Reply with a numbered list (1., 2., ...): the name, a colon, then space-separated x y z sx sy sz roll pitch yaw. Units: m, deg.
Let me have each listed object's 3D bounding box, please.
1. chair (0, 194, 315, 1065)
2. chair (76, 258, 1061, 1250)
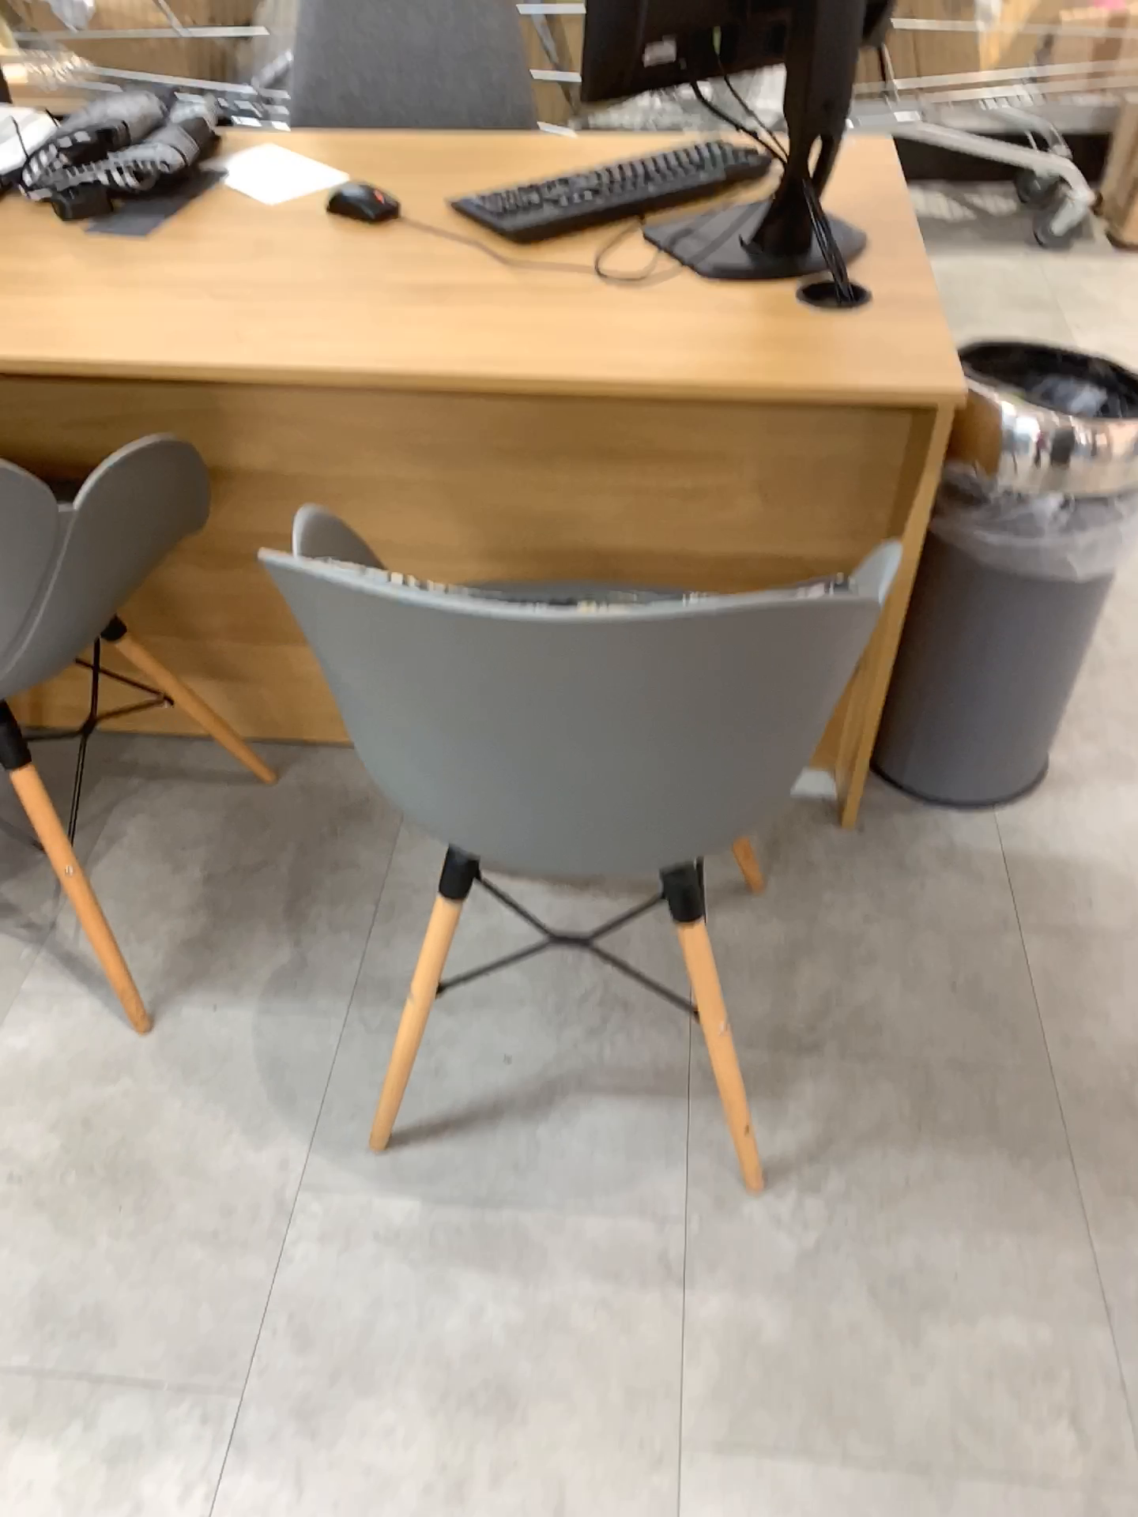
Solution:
1. chair: -0.727 -0.129 1.350 0.587 0.808 0.551 4 45 6
2. chair: 0.027 0.021 1.173 0.597 0.808 0.551 4 45 6
